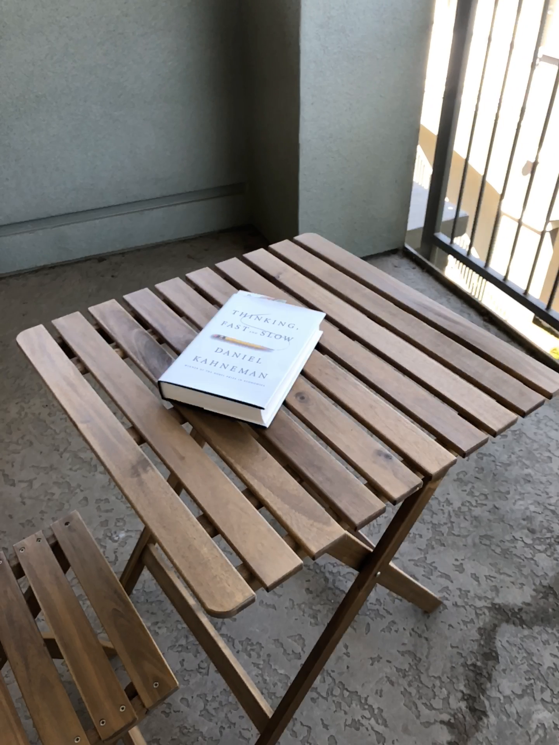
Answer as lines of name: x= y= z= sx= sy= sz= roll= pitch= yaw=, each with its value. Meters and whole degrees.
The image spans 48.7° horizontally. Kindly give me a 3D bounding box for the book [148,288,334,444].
book: x=-0.047 y=-0.023 z=0.925 sx=0.180 sy=0.050 sz=0.261 roll=14 pitch=42 yaw=18
